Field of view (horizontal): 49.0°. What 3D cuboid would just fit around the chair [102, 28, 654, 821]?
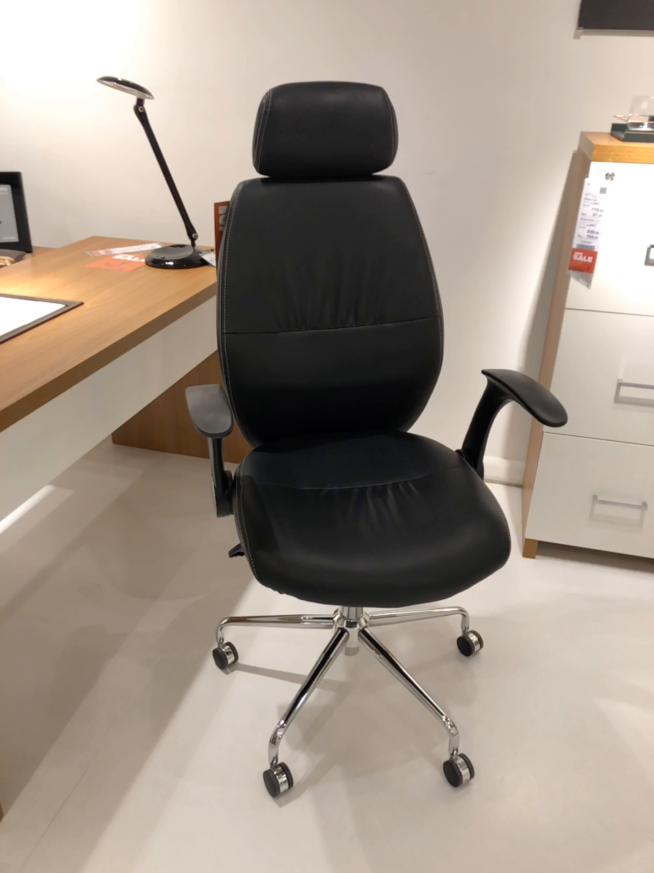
[{"bbox_3d":[0.018,-0.028,1.409,0.690,1.299,0.715,-3,30,-10],"label":"chair"}]
